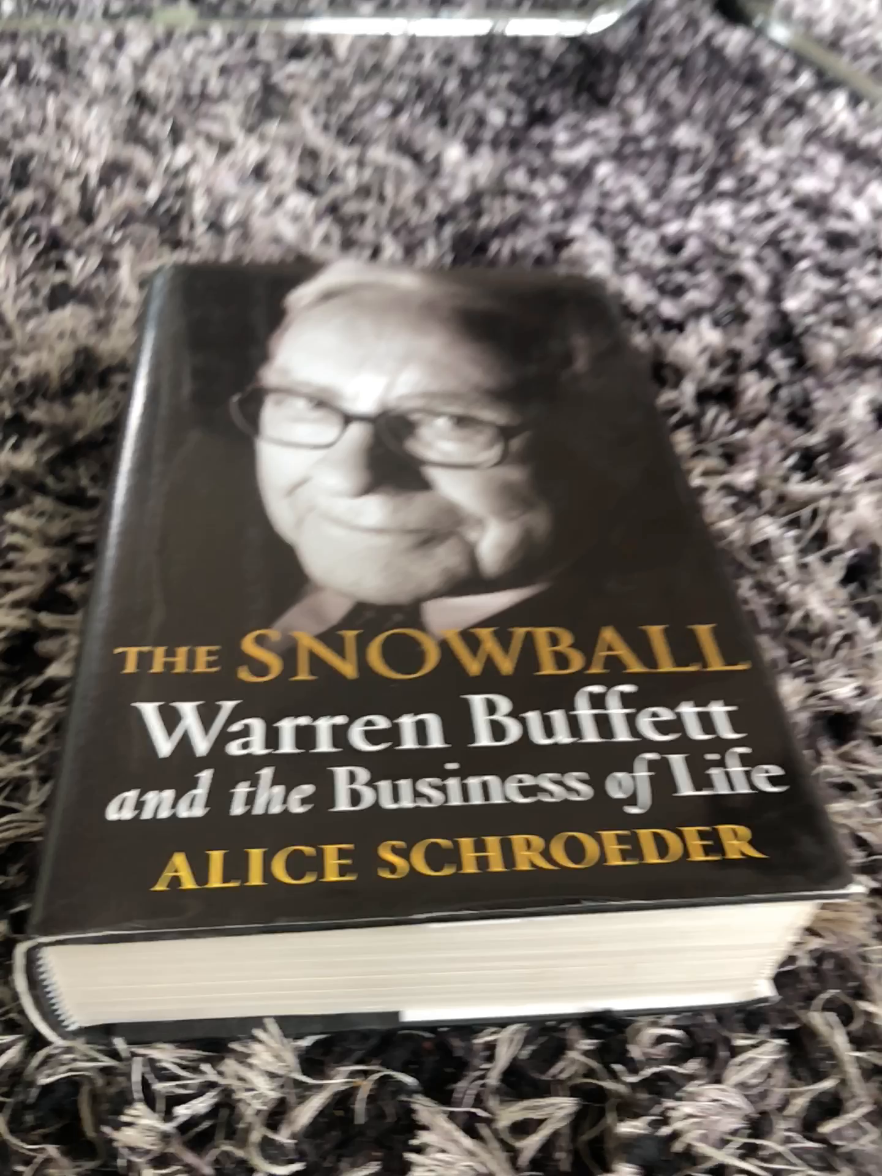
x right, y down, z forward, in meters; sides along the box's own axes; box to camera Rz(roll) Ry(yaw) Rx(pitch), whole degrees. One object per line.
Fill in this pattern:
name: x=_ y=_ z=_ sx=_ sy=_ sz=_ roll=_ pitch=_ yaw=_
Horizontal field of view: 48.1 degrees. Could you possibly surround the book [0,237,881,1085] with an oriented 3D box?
book: x=-0.017 y=-0.008 z=0.286 sx=0.180 sy=0.060 sz=0.251 roll=0 pitch=46 yaw=-10
